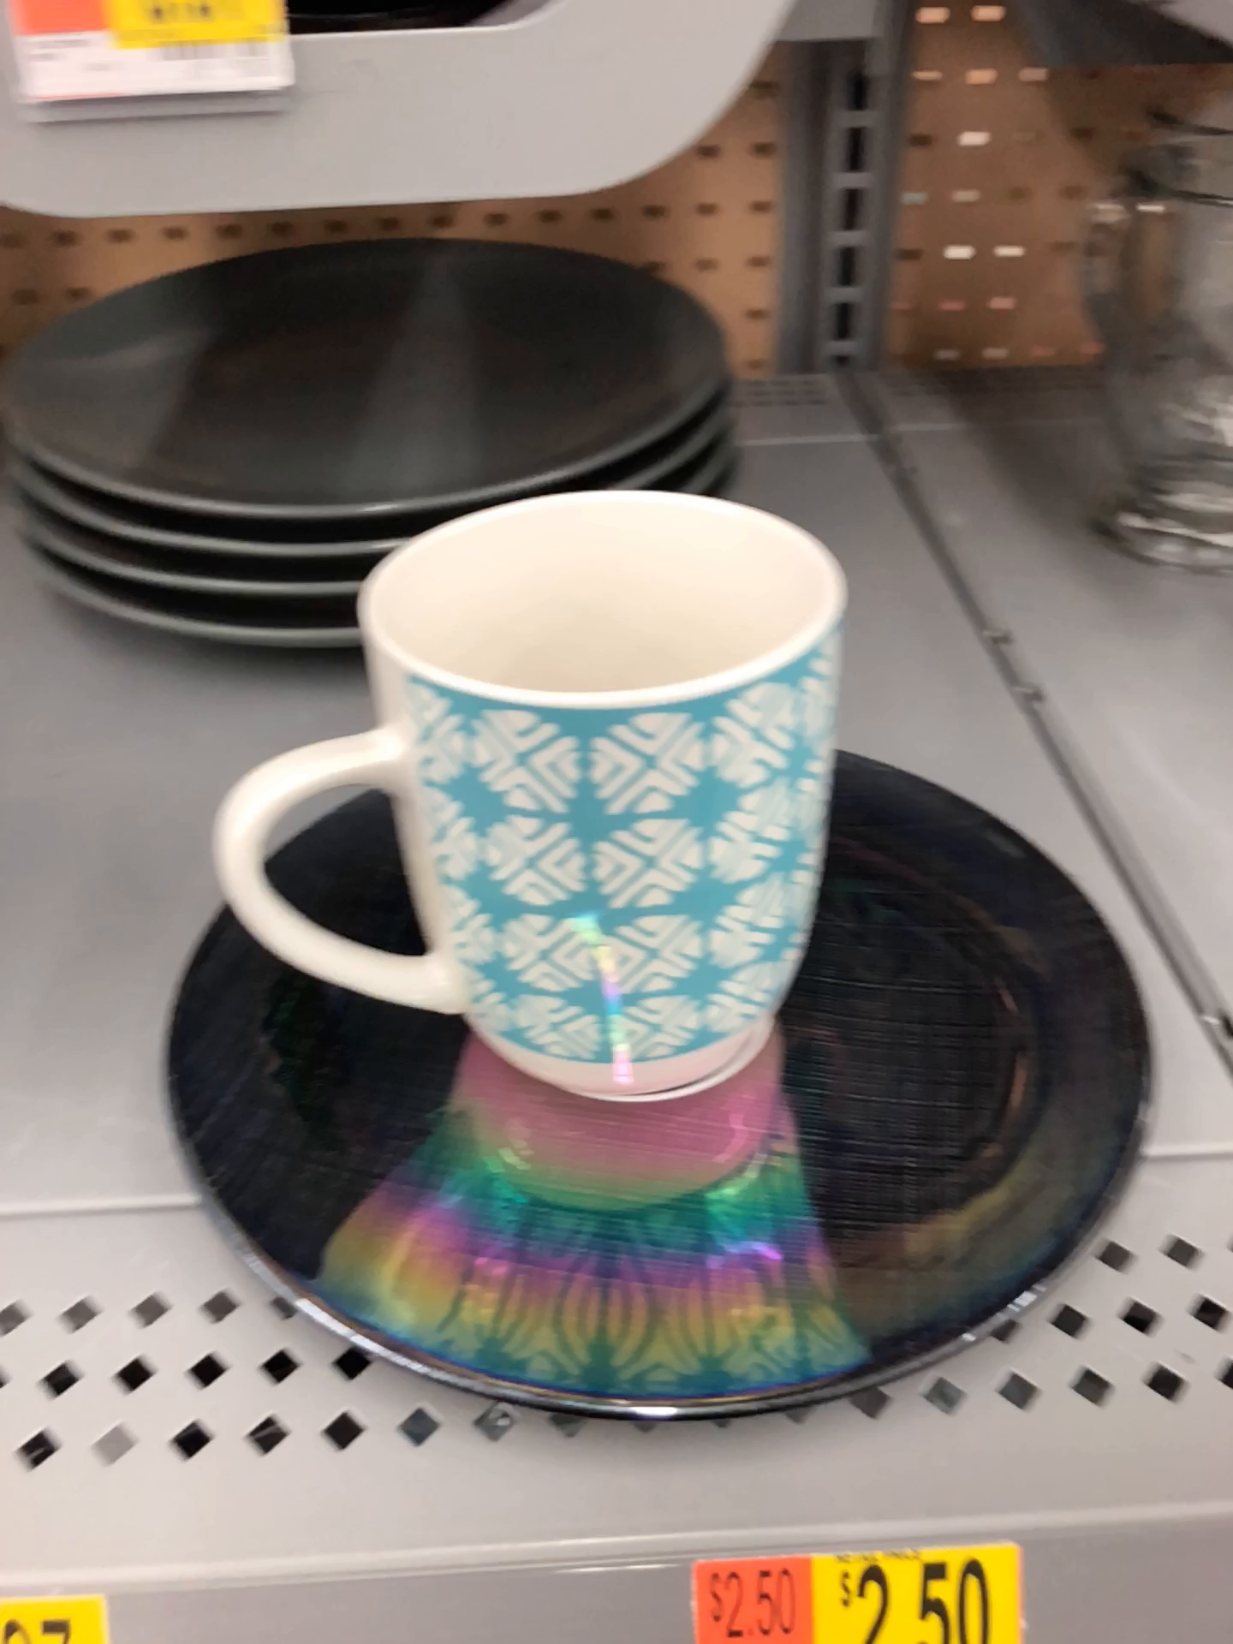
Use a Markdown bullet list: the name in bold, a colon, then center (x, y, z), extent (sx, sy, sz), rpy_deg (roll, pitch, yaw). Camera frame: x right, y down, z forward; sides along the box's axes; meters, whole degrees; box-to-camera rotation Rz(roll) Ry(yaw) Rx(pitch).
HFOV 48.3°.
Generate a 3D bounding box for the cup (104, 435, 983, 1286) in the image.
- **cup**: center (-0.015, 0.000, 0.259), extent (0.122, 0.098, 0.090), rpy_deg (-16, 38, -19)
